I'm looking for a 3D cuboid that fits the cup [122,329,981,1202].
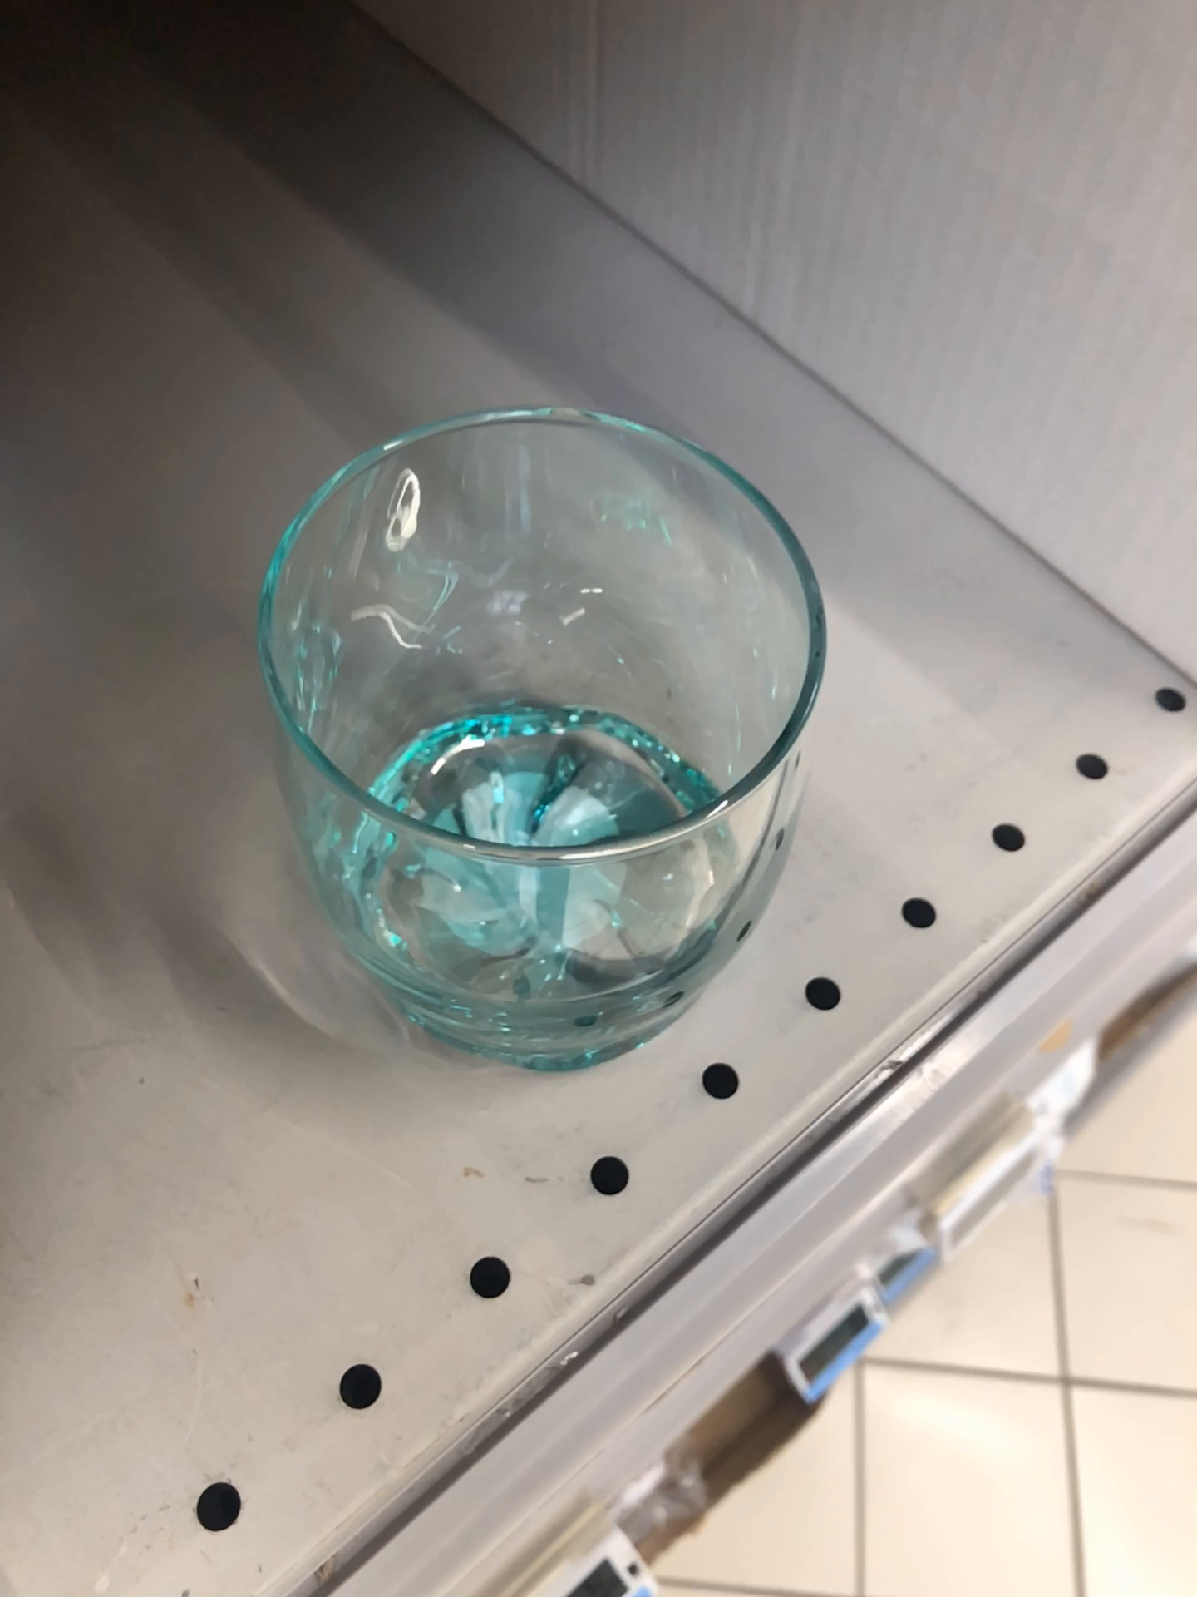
[{"bbox_3d":[-0.008,-0.003,0.207,0.082,0.082,0.074,-30,65,-18],"label":"cup"}]
